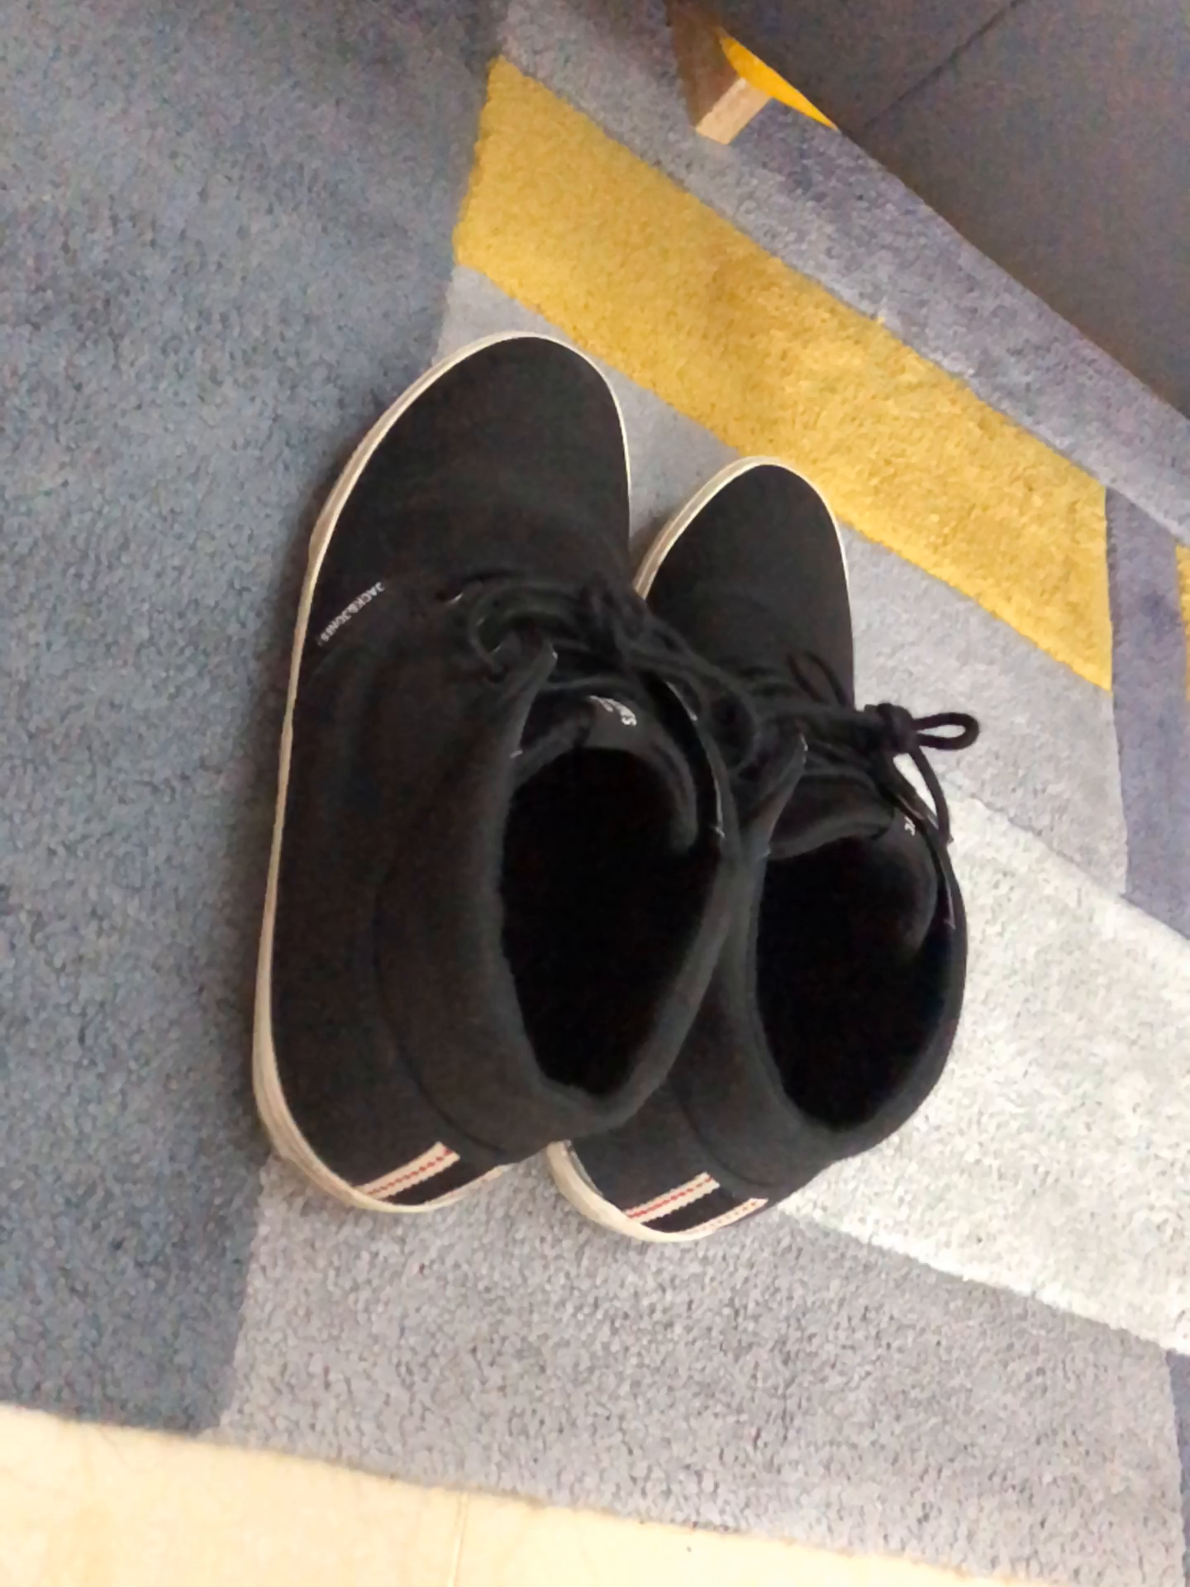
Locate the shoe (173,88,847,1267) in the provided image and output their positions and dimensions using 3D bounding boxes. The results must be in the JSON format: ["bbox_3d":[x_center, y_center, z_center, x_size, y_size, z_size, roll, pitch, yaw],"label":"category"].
[{"bbox_3d":[-0.011,-0.029,0.358,0.110,0.109,0.281,22,59,-29],"label":"shoe"}]

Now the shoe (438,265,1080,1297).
[{"bbox_3d":[0.060,-0.003,0.415,0.110,0.129,0.281,27,56,-26],"label":"shoe"}]
